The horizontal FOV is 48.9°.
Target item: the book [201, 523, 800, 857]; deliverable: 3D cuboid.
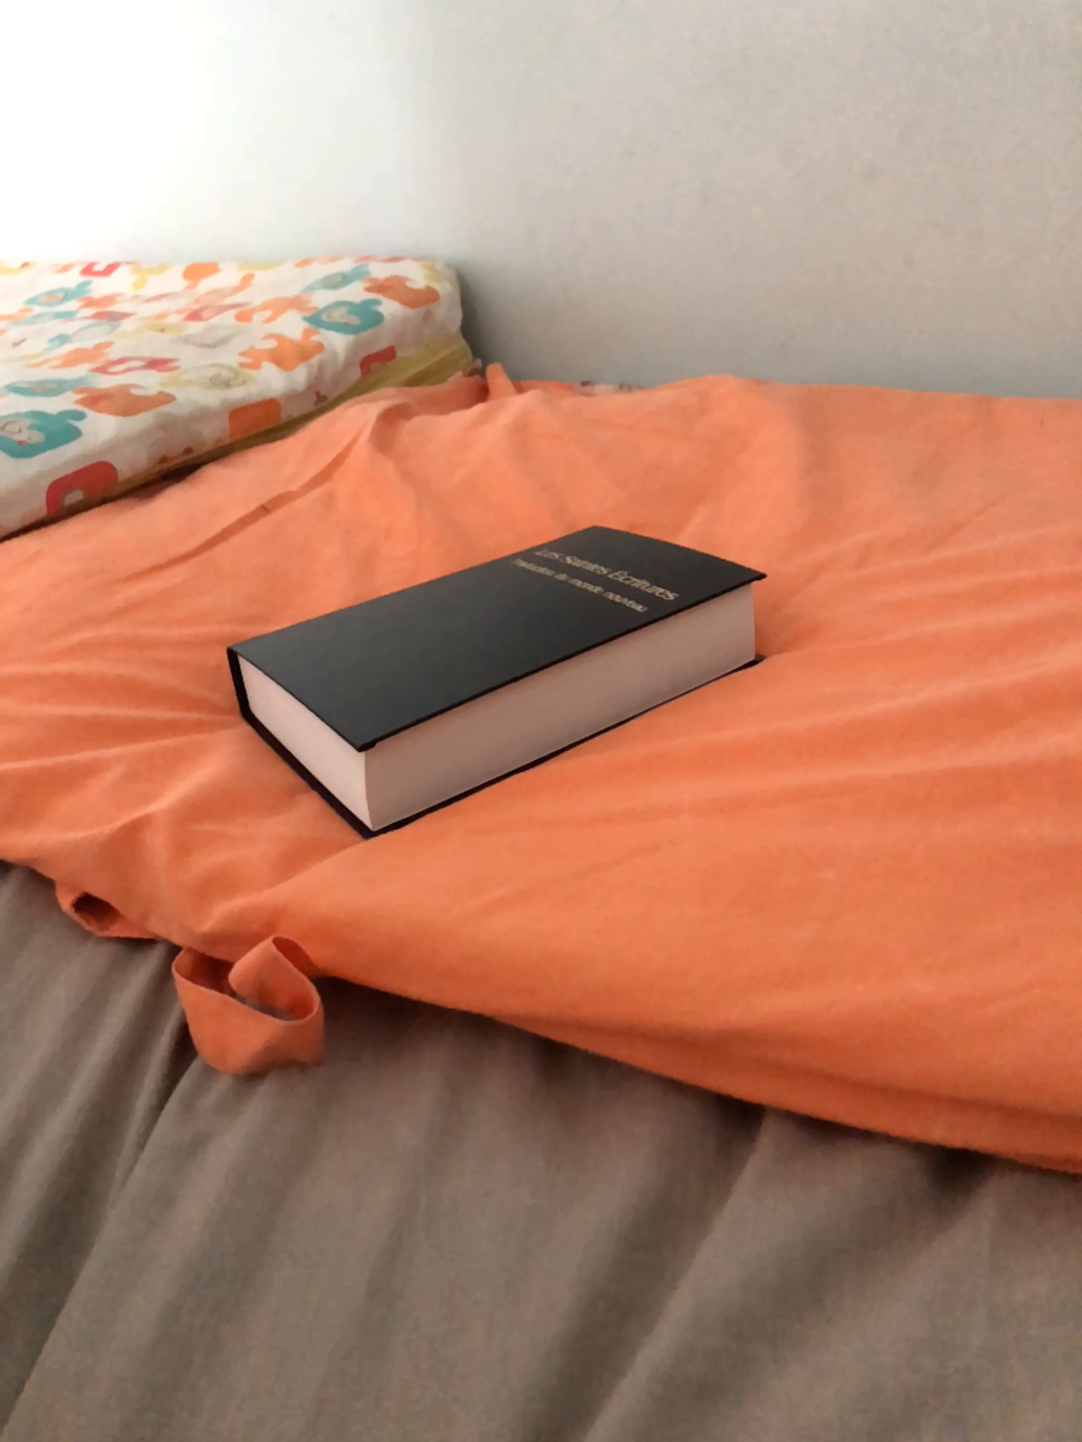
[{"bbox_3d":[-0.017,-0.023,0.428,0.174,0.030,0.127,-24,27,-25],"label":"book"}]
